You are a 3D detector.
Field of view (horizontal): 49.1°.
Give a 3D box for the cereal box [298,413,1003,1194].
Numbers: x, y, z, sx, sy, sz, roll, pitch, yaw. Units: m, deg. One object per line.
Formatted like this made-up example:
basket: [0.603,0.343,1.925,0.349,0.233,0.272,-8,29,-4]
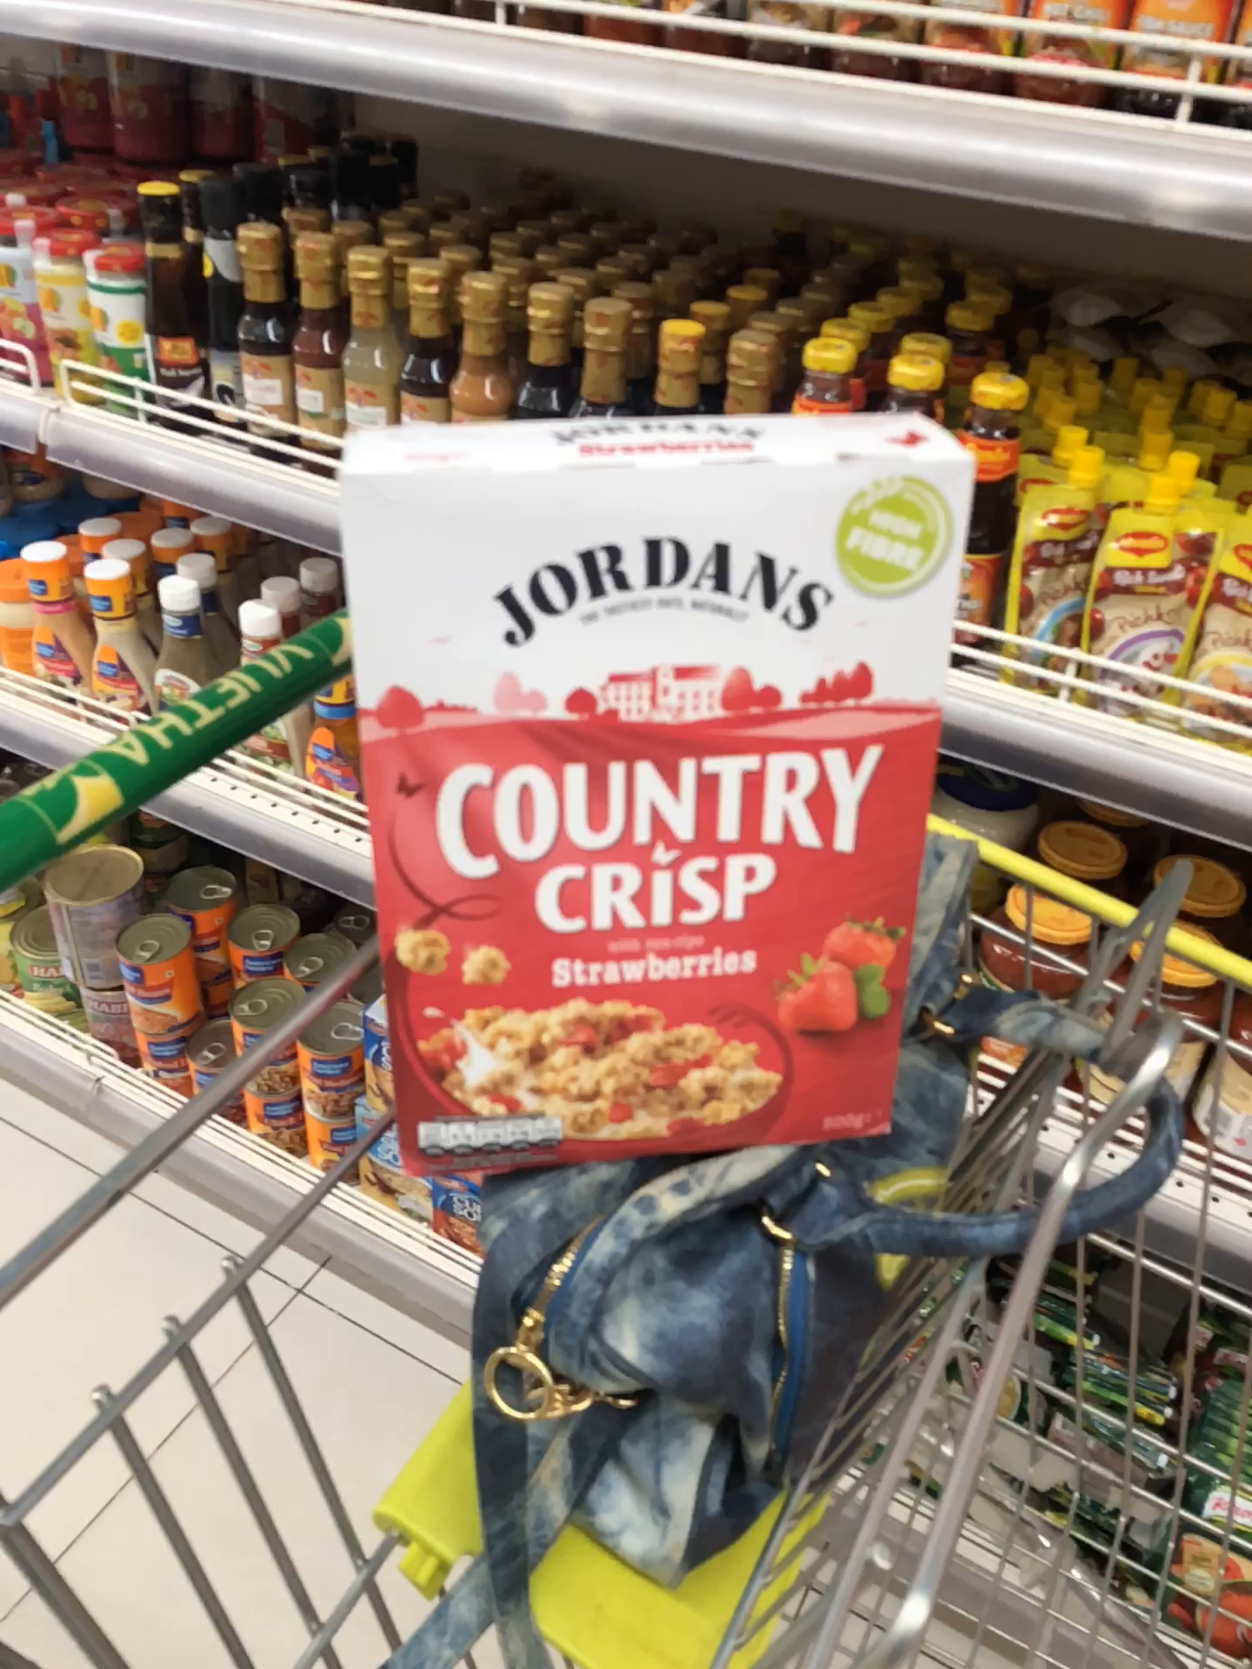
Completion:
cereal box: [0.001,-0.004,0.451,0.190,0.249,0.060,-3,30,-9]
